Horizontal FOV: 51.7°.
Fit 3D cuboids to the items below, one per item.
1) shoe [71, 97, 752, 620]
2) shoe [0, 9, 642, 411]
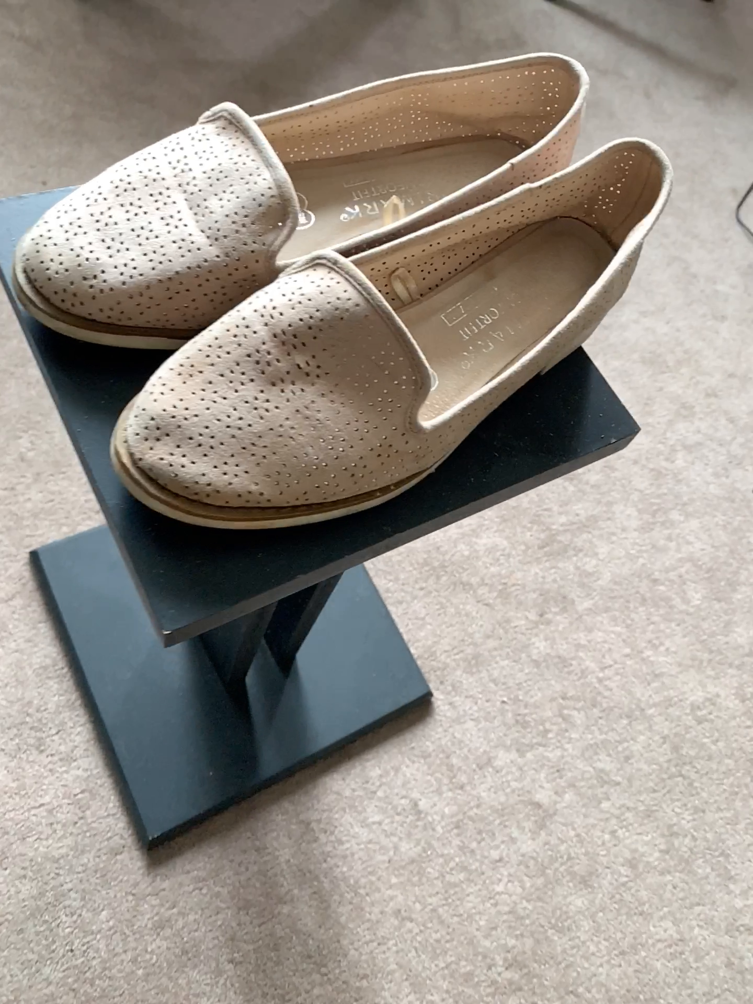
[{"bbox_3d":[0.021,-0.062,0.318,0.251,0.080,0.080,-32,75,-17],"label":"shoe"},{"bbox_3d":[-0.021,-0.133,0.345,0.251,0.080,0.080,-21,70,-16],"label":"shoe"}]
